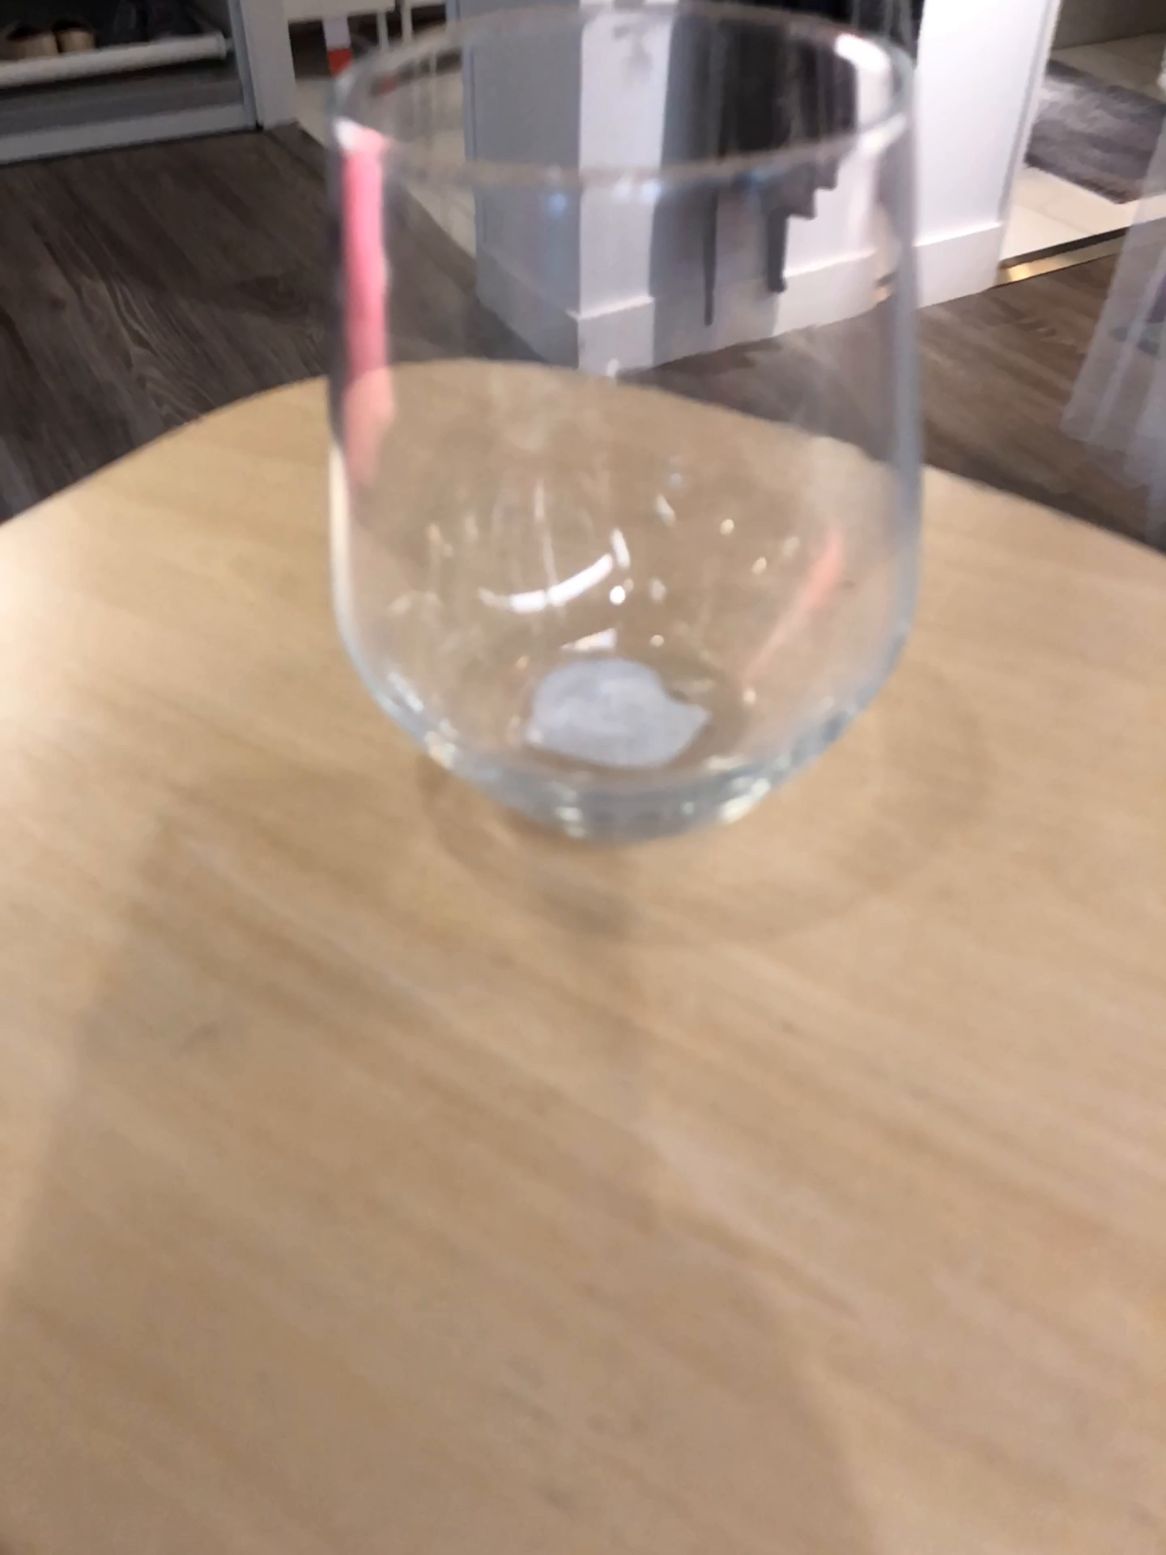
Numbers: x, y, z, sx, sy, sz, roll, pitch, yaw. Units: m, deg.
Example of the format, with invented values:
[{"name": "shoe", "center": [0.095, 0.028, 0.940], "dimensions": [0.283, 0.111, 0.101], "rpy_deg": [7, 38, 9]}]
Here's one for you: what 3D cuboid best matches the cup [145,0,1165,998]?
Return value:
[{"name": "cup", "center": [0.008, -0.050, 0.183], "dimensions": [0.090, 0.100, 0.090], "rpy_deg": [0, 43, 0]}]
